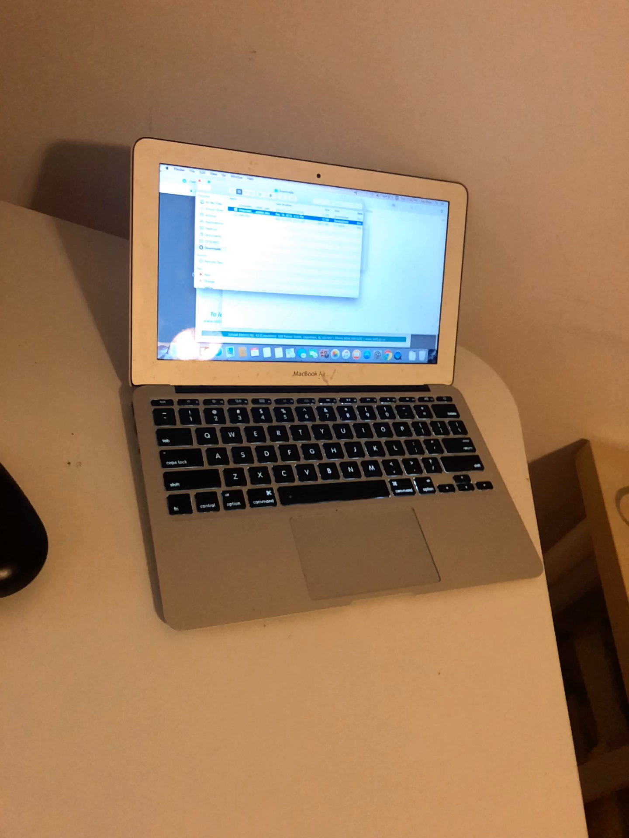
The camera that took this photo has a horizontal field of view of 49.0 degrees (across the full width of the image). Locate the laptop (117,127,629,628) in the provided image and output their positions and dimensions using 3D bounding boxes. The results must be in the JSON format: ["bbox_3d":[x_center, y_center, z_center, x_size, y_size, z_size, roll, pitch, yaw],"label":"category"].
[{"bbox_3d":[0.024,-0.045,0.503,0.280,0.126,0.306,-2,55,-24],"label":"laptop"}]
